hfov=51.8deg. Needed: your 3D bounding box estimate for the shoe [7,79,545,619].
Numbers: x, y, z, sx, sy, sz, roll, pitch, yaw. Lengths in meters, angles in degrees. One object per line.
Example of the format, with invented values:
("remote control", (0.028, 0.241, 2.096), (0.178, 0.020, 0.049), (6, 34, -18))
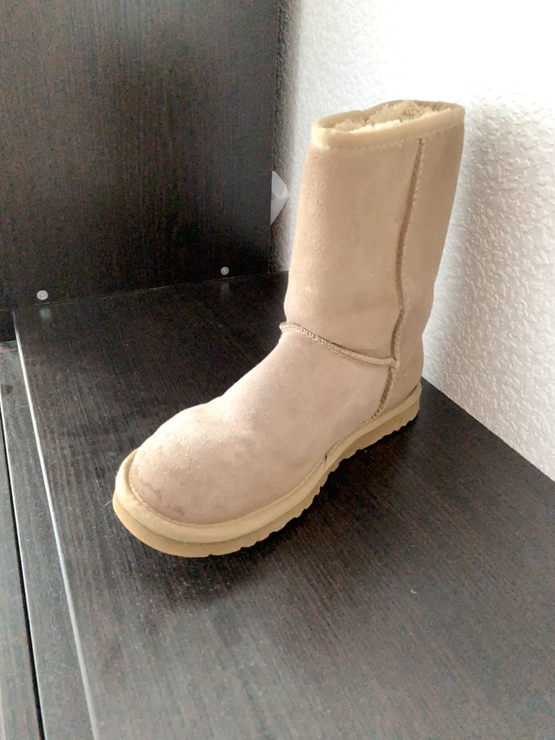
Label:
("shoe", (0.015, -0.038, 0.345), (0.261, 0.229, 0.116), (-25, 41, -37))
